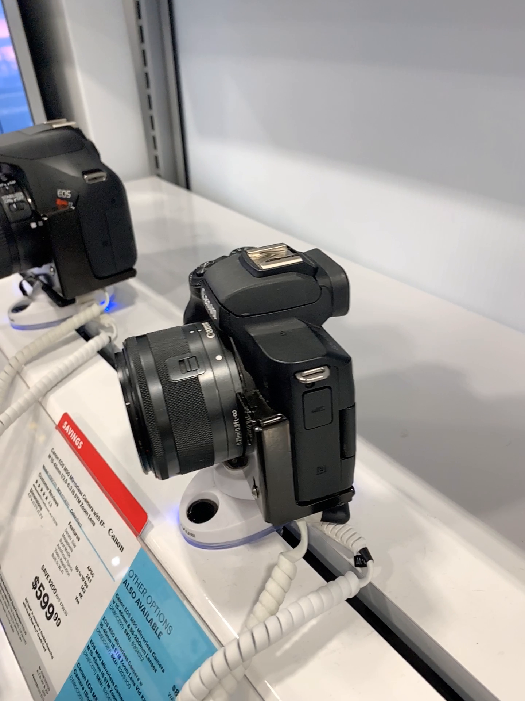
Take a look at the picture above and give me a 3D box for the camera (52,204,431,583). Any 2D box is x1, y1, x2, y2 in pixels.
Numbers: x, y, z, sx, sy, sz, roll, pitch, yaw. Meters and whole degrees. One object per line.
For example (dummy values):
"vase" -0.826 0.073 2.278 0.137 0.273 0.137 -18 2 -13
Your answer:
"camera" -0.017 0.004 0.232 0.110 0.080 0.121 -15 35 -17
